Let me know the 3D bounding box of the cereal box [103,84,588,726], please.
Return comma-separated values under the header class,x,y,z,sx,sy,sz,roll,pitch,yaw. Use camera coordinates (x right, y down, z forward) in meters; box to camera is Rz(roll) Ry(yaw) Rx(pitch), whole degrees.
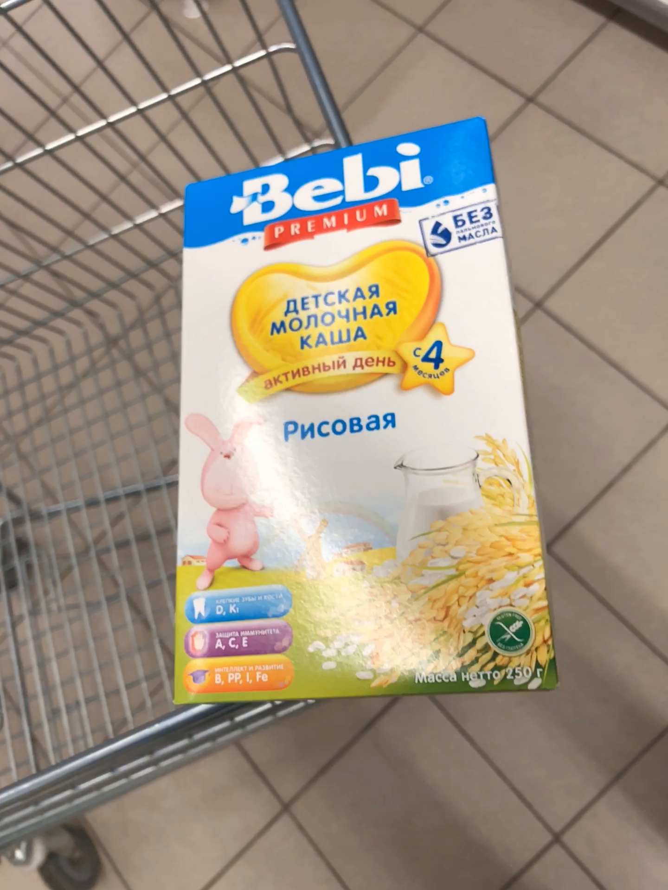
class,x,y,z,sx,sy,sz,roll,pitch,yaw
cereal box,0.000,-0.011,0.276,0.150,0.050,0.210,-8,71,18
